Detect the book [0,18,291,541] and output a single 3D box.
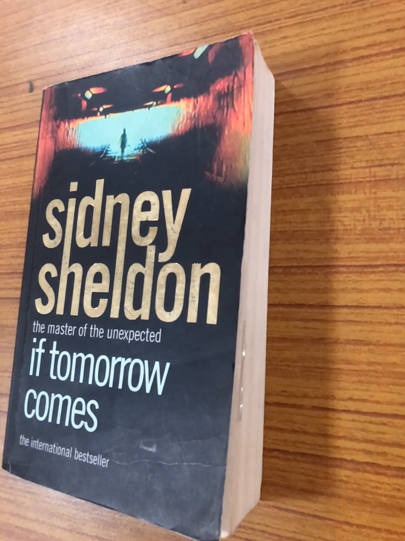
[{"bbox_3d":[-0.028,0.001,0.188,0.115,0.034,0.176,0,81,26],"label":"book"}]
